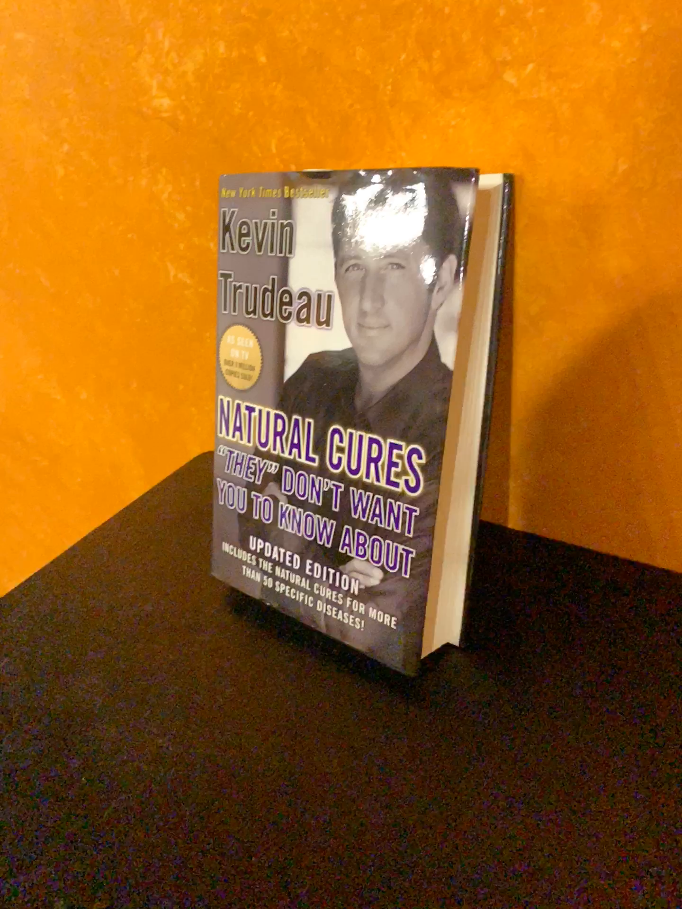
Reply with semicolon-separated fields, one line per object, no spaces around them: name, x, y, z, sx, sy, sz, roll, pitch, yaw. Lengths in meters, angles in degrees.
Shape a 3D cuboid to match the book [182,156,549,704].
book;-0.004;-0.023;0.363;0.181;0.229;0.050;16;18;39
